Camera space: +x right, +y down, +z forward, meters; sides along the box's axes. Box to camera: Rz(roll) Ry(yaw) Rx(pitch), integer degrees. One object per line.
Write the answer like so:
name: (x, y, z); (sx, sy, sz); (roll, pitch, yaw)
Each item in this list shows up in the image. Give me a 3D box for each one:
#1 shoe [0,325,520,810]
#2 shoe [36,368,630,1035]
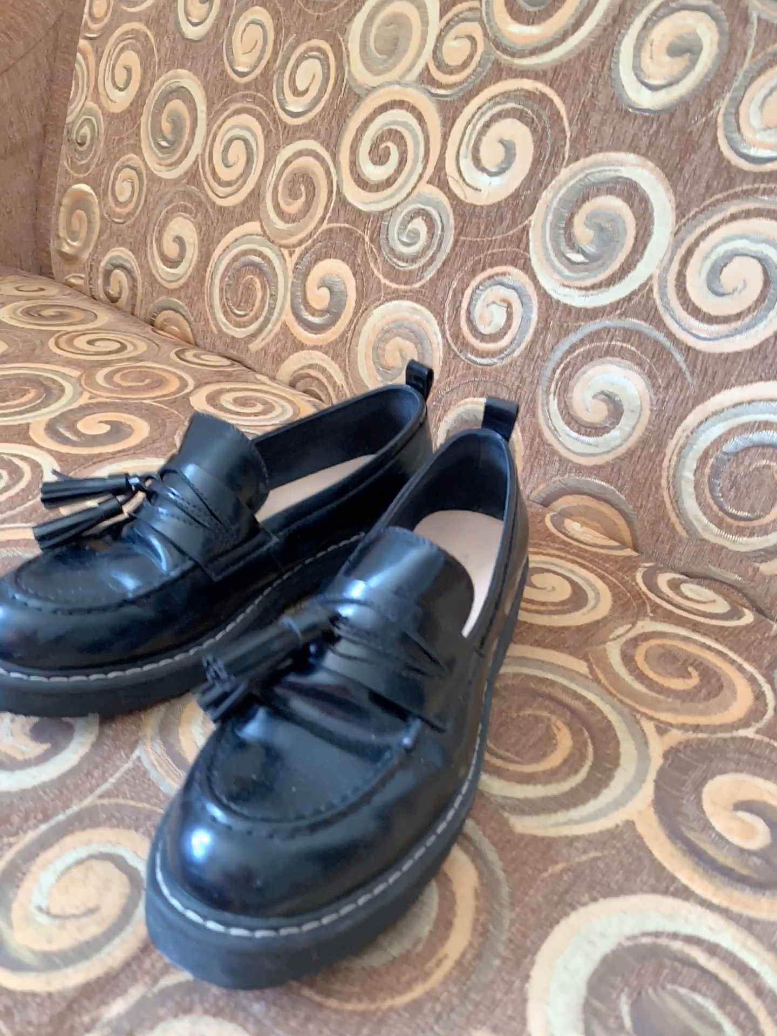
shoe: (-0.061, 0.001, 0.354); (0.240, 0.099, 0.090); (-25, 44, -35)
shoe: (0.008, 0.044, 0.290); (0.090, 0.099, 0.241); (17, 37, 19)
